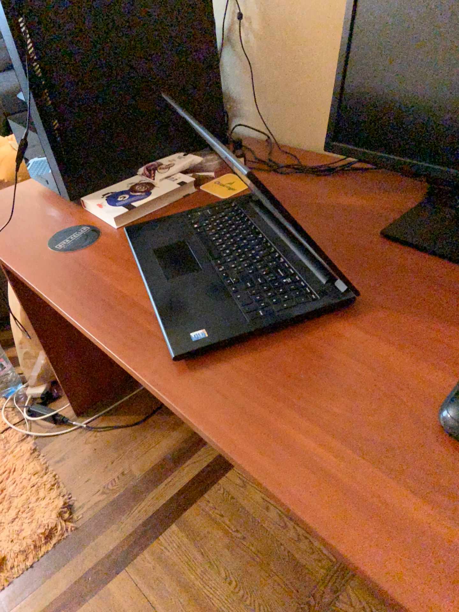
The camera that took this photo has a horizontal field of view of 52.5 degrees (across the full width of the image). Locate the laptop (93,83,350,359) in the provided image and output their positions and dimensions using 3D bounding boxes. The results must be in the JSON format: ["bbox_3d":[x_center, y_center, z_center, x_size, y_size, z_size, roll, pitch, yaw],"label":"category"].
[{"bbox_3d":[-0.033,-0.157,0.697,0.245,0.202,0.376,-19,40,-11],"label":"laptop"}]
